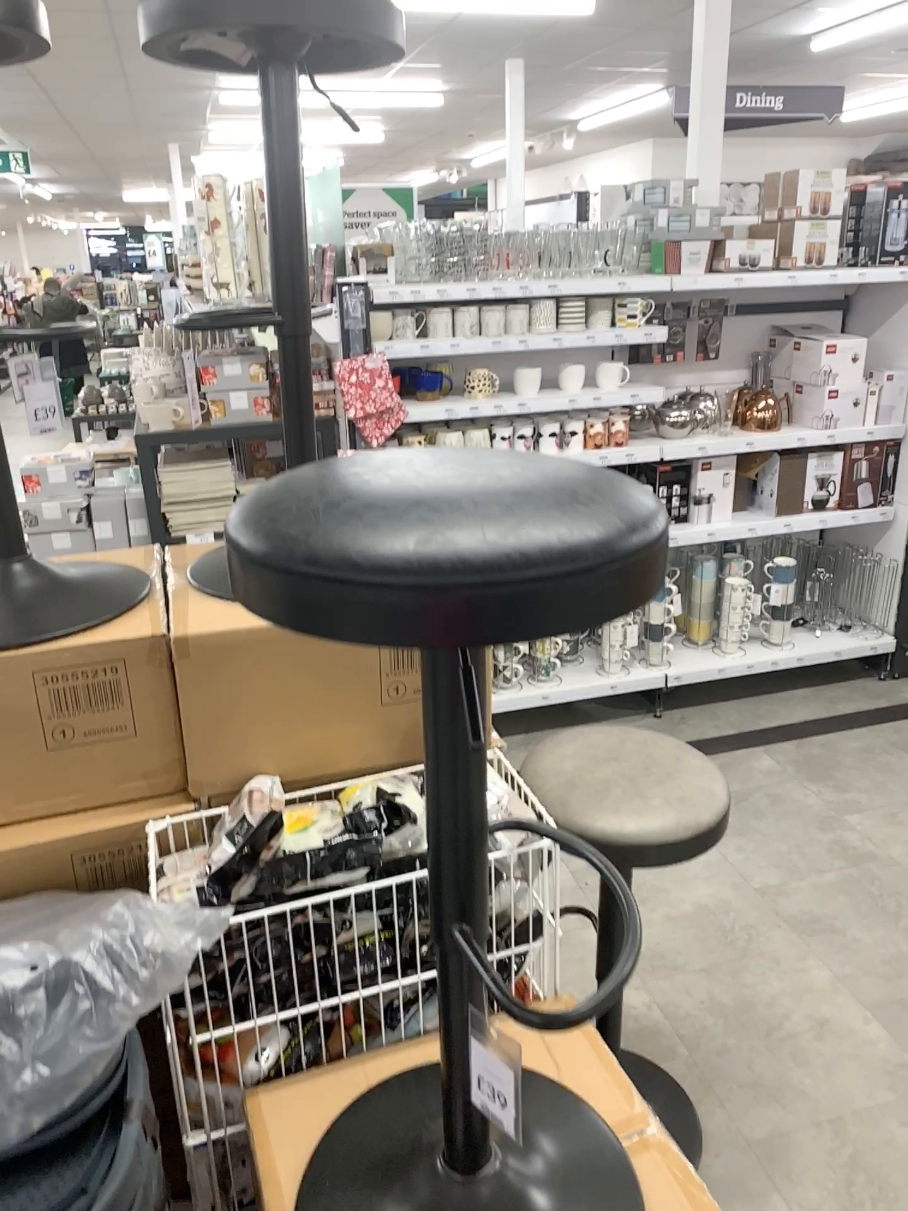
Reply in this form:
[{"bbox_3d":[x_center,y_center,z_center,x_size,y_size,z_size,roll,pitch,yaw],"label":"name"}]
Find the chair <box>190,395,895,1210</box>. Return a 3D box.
[{"bbox_3d":[0.031,0.255,0.829,0.407,0.795,0.399,-8,20,-16],"label":"chair"}]
